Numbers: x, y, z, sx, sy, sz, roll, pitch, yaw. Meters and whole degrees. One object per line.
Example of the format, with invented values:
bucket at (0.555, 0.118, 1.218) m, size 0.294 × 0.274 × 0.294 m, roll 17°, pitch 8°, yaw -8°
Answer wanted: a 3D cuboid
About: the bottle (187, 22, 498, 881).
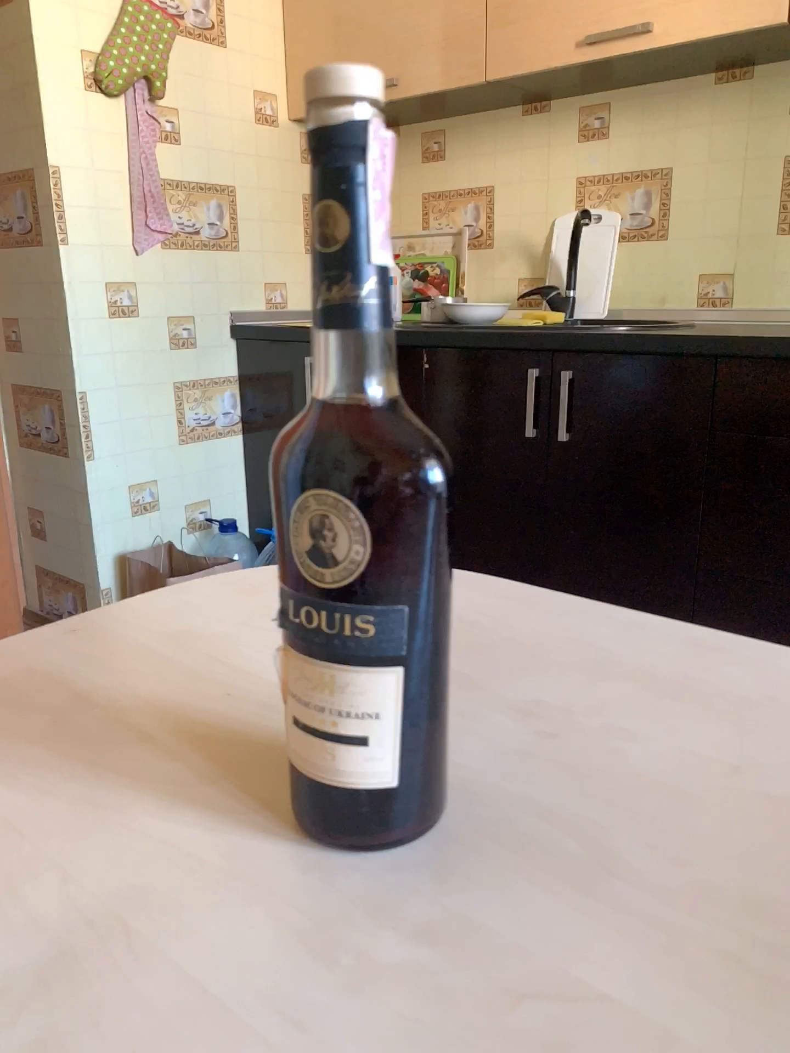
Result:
bottle at (-0.012, -0.019, 0.318) m, size 0.080 × 0.289 × 0.080 m, roll -1°, pitch 16°, yaw 0°
